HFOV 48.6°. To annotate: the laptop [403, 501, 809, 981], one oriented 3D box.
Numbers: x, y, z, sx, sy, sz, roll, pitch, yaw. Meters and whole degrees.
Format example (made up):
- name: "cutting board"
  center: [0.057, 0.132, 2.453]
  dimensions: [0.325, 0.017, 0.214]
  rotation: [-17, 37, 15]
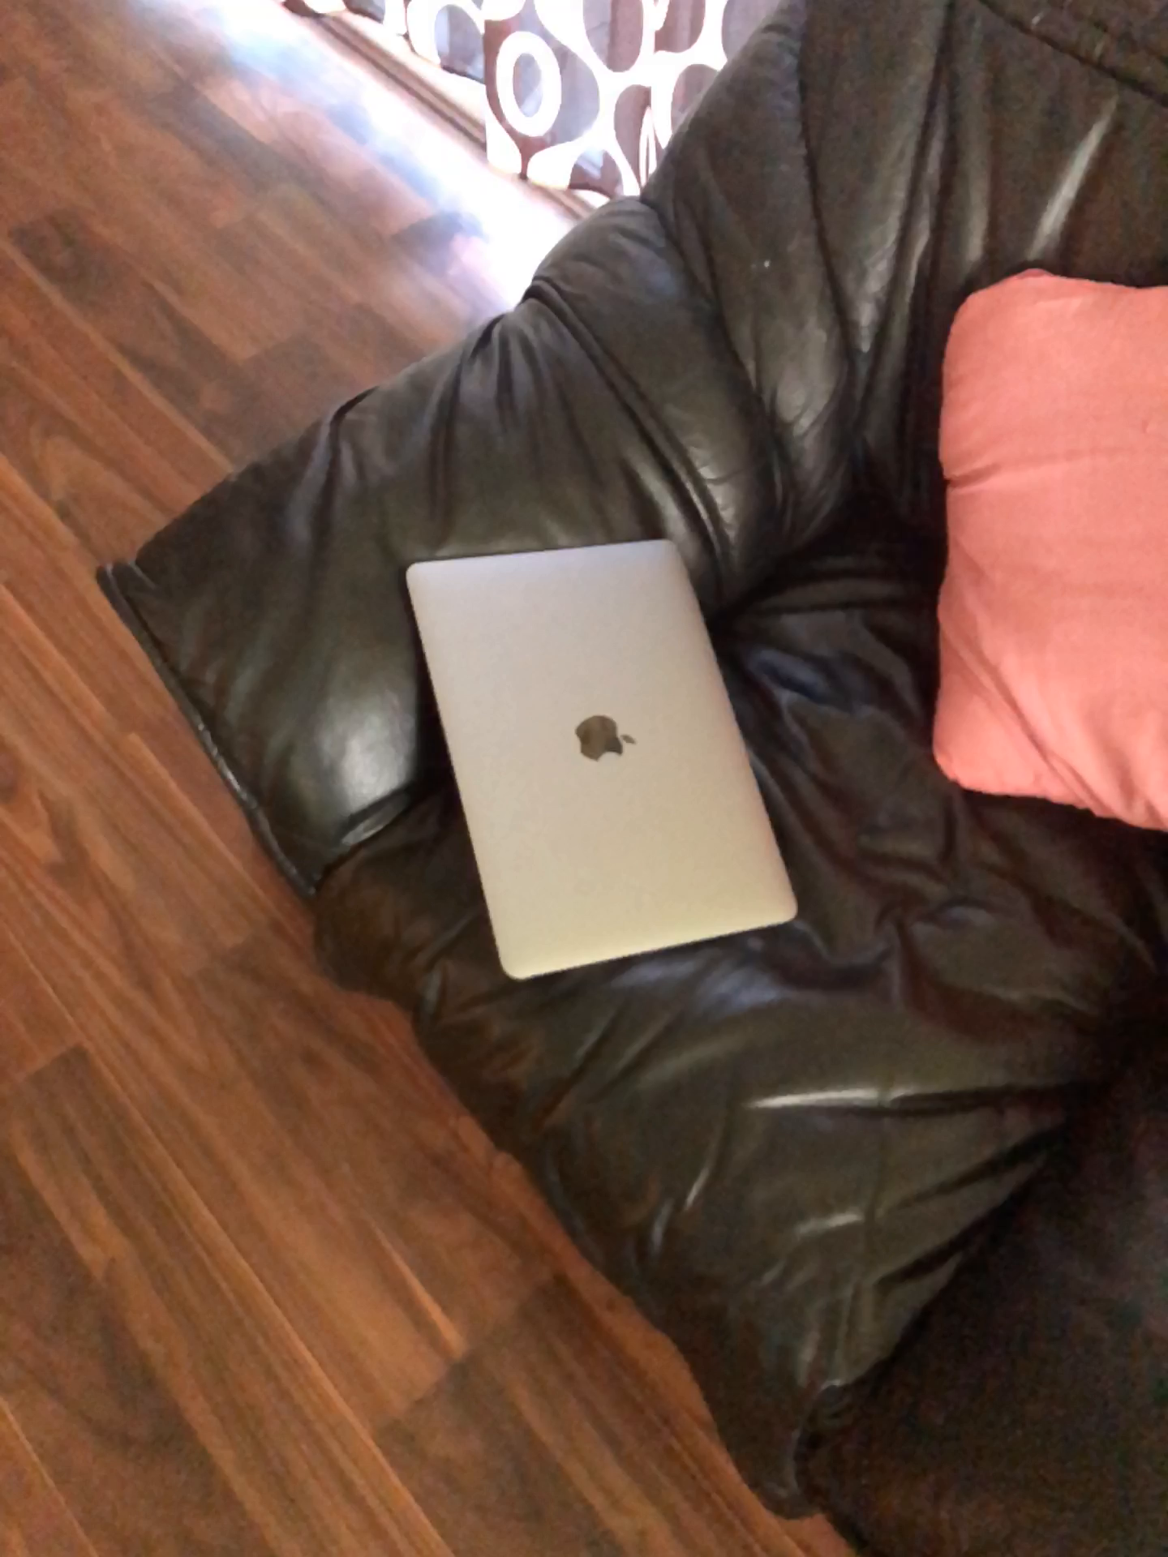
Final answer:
- name: "laptop"
  center: [0.011, -0.034, 0.772]
  dimensions: [0.185, 0.036, 0.265]
  rotation: [-9, 70, -21]
